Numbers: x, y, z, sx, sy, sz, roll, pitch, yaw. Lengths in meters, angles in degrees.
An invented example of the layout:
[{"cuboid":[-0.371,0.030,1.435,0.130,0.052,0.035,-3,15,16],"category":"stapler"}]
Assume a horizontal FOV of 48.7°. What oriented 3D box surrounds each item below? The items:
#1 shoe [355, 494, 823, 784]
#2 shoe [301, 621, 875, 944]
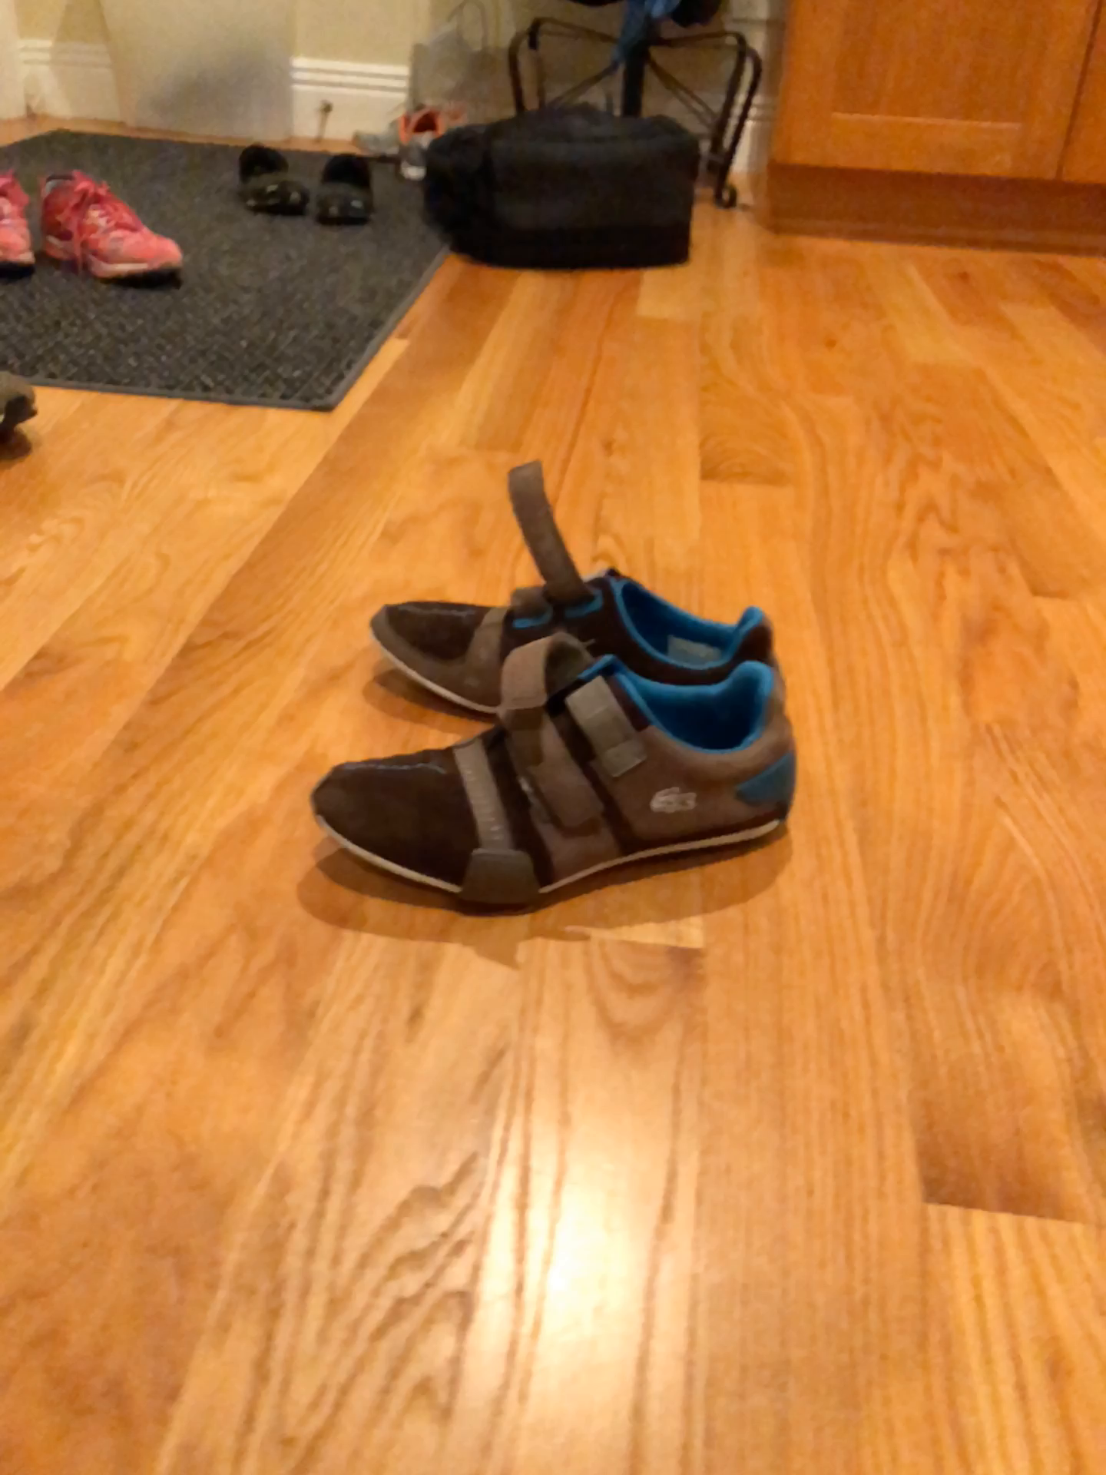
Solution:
[{"cuboid":[0.021,-0.065,0.735,0.255,0.091,0.103,12,33,13],"category":"shoe"},{"cuboid":[0.012,0.016,0.605,0.255,0.091,0.103,-6,34,-15],"category":"shoe"}]
